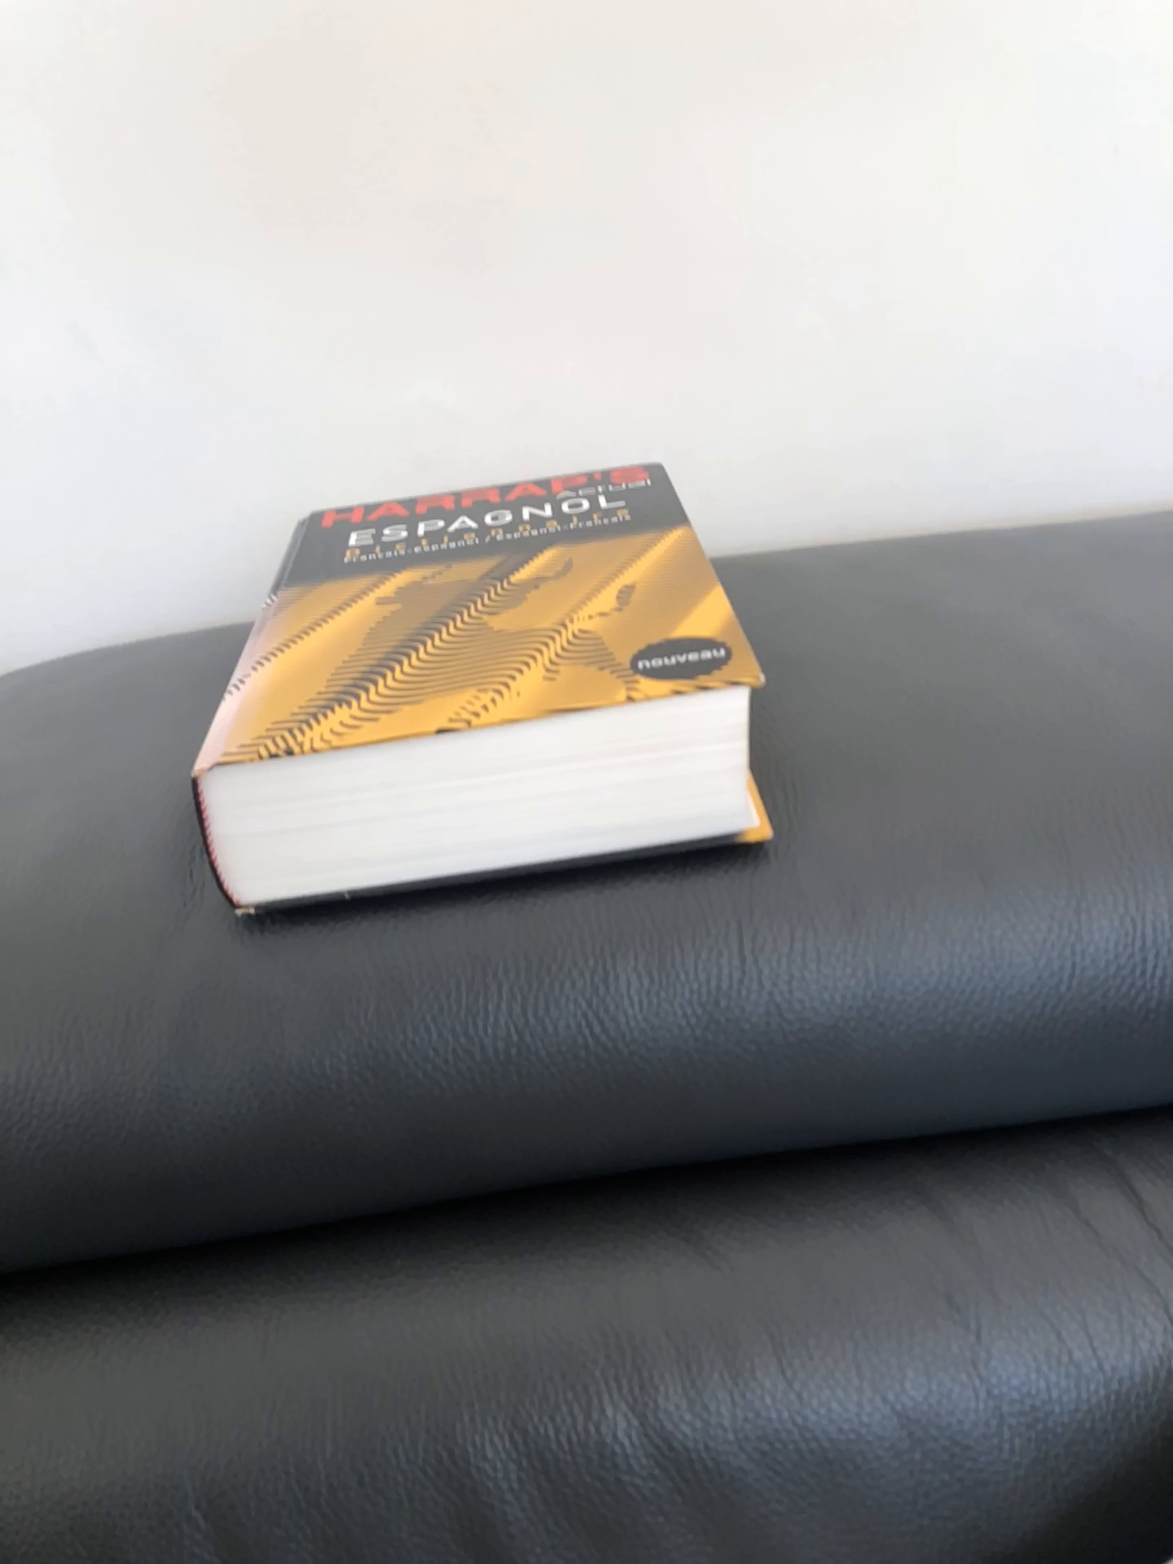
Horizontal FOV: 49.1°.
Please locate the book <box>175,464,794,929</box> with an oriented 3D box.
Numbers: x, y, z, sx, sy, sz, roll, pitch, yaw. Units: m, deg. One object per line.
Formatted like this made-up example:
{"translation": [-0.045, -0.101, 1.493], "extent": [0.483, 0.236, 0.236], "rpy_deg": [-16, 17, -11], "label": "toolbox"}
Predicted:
{"translation": [-0.037, -0.052, 0.511], "extent": [0.185, 0.050, 0.261], "rpy_deg": [-9, 29, 1], "label": "book"}
